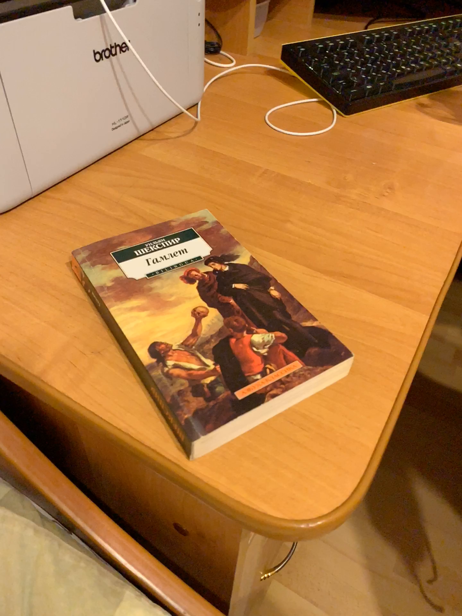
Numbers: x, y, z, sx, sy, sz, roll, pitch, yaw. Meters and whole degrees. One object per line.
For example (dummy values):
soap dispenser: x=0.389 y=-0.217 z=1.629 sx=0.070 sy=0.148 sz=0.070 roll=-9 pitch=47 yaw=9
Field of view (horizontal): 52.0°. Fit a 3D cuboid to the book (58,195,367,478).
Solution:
book: x=-0.023 y=-0.002 z=0.316 sx=0.120 sy=0.030 sz=0.191 roll=-21 pitch=50 yaw=-24
